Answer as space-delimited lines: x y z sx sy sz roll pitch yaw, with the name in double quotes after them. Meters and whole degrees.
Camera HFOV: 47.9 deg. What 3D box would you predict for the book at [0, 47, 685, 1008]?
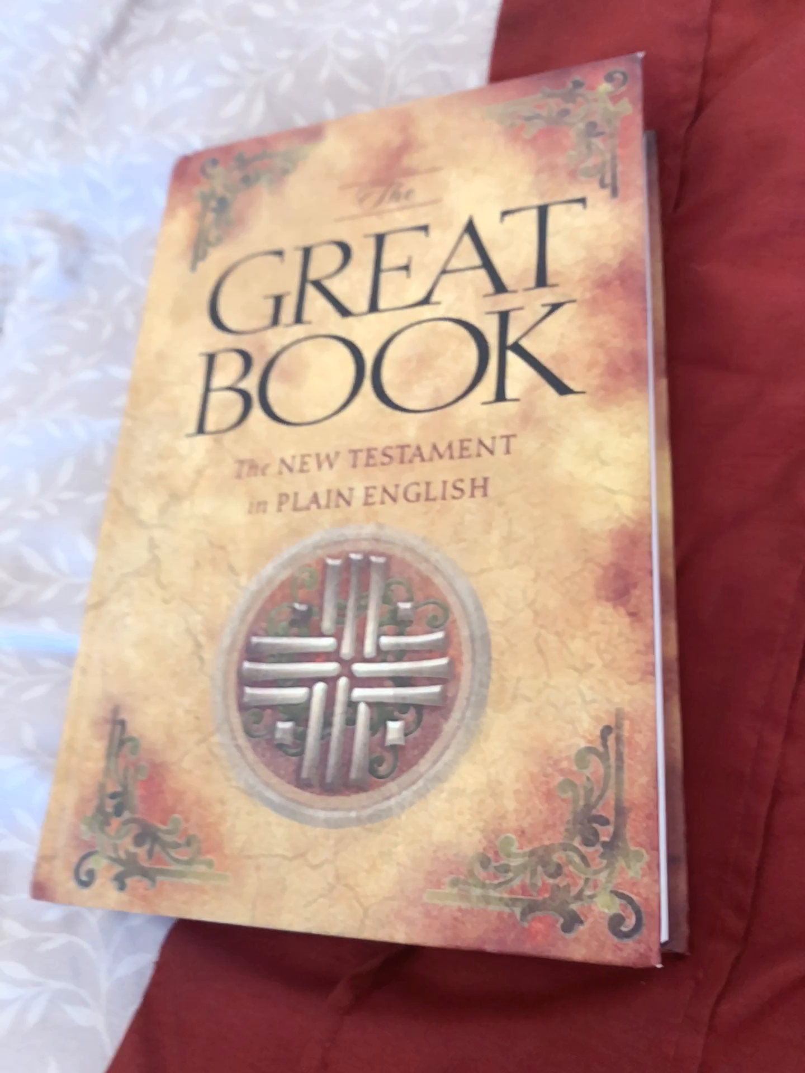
-0.013 -0.010 0.243 0.161 0.040 0.220 -3 70 22 "book"
